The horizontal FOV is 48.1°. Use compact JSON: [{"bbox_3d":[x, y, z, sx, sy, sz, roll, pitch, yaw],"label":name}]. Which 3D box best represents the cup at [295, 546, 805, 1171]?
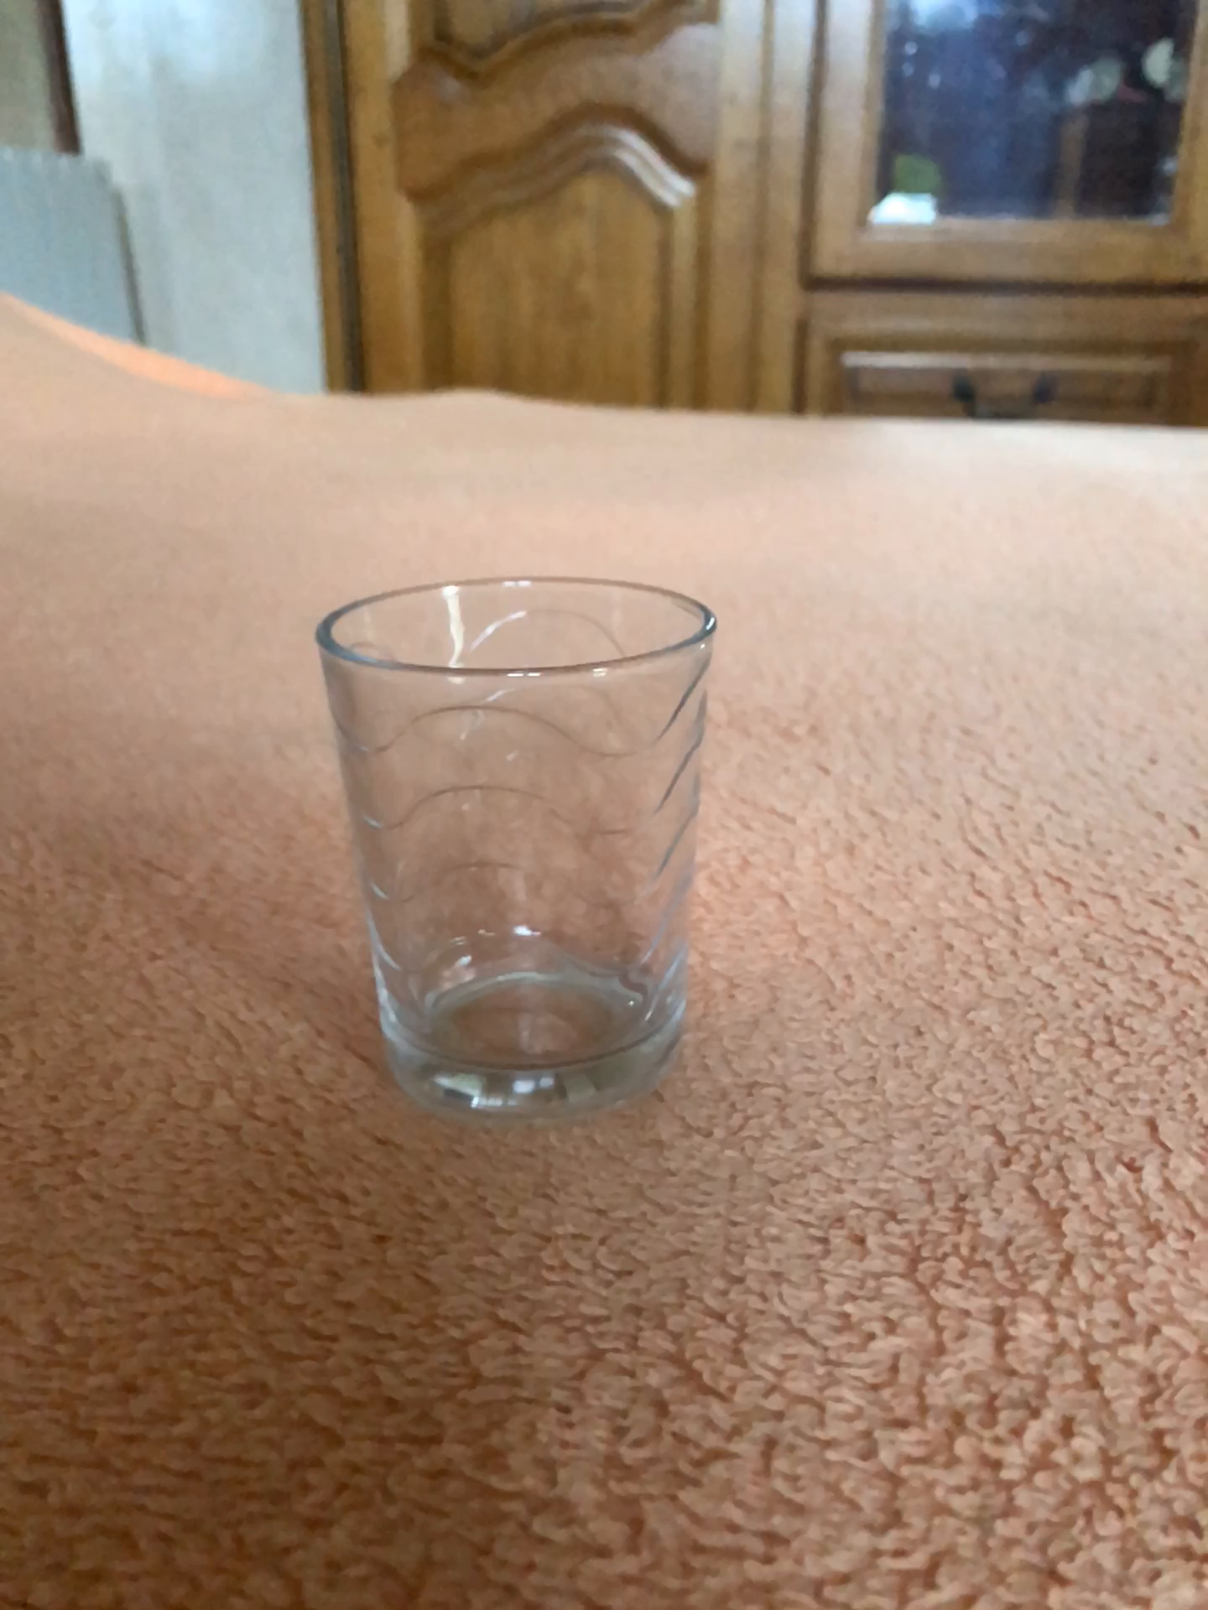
[{"bbox_3d":[-0.010,0.003,0.231,0.060,0.080,0.060,-1,21,0],"label":"cup"}]
